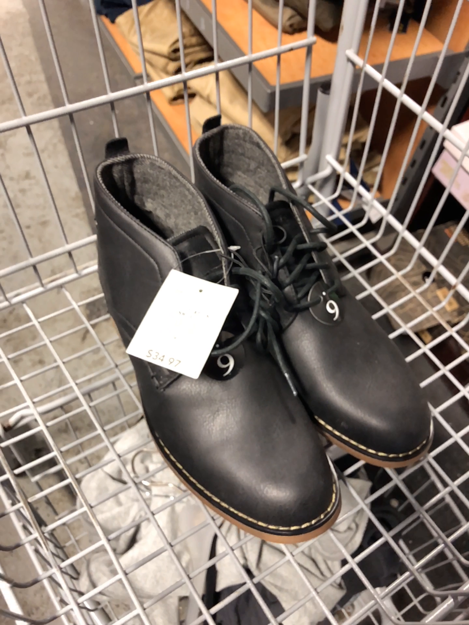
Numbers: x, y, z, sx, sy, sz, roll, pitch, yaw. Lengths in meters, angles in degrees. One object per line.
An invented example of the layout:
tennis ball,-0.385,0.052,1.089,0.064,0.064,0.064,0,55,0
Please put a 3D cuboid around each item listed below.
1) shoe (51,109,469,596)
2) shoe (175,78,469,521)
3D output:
shoe,-0.011,0.032,0.363,0.100,0.199,0.261,-25,63,-21
shoe,0.064,-0.007,0.409,0.100,0.199,0.271,-25,63,-21
